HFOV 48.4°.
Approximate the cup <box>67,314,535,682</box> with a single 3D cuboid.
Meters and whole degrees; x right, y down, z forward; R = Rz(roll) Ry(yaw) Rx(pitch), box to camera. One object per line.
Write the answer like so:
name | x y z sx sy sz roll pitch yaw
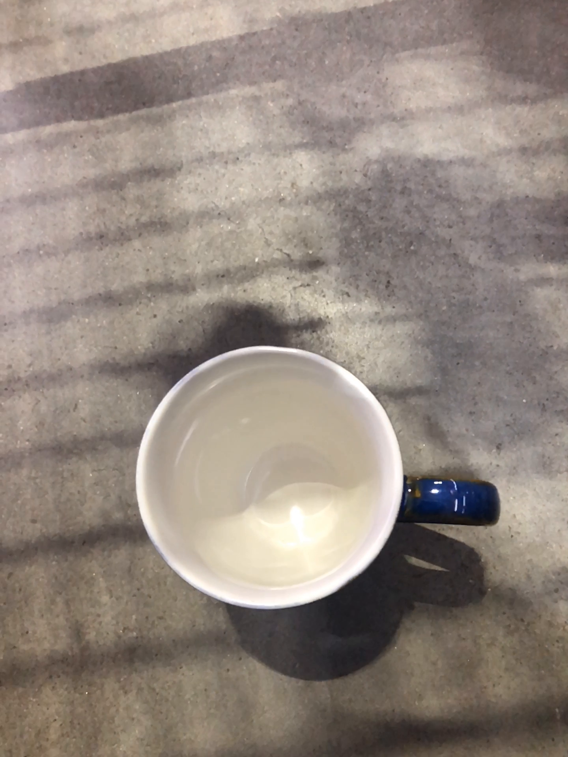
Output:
cup | 0.009 0.034 0.192 0.110 0.070 0.080 5 75 8
